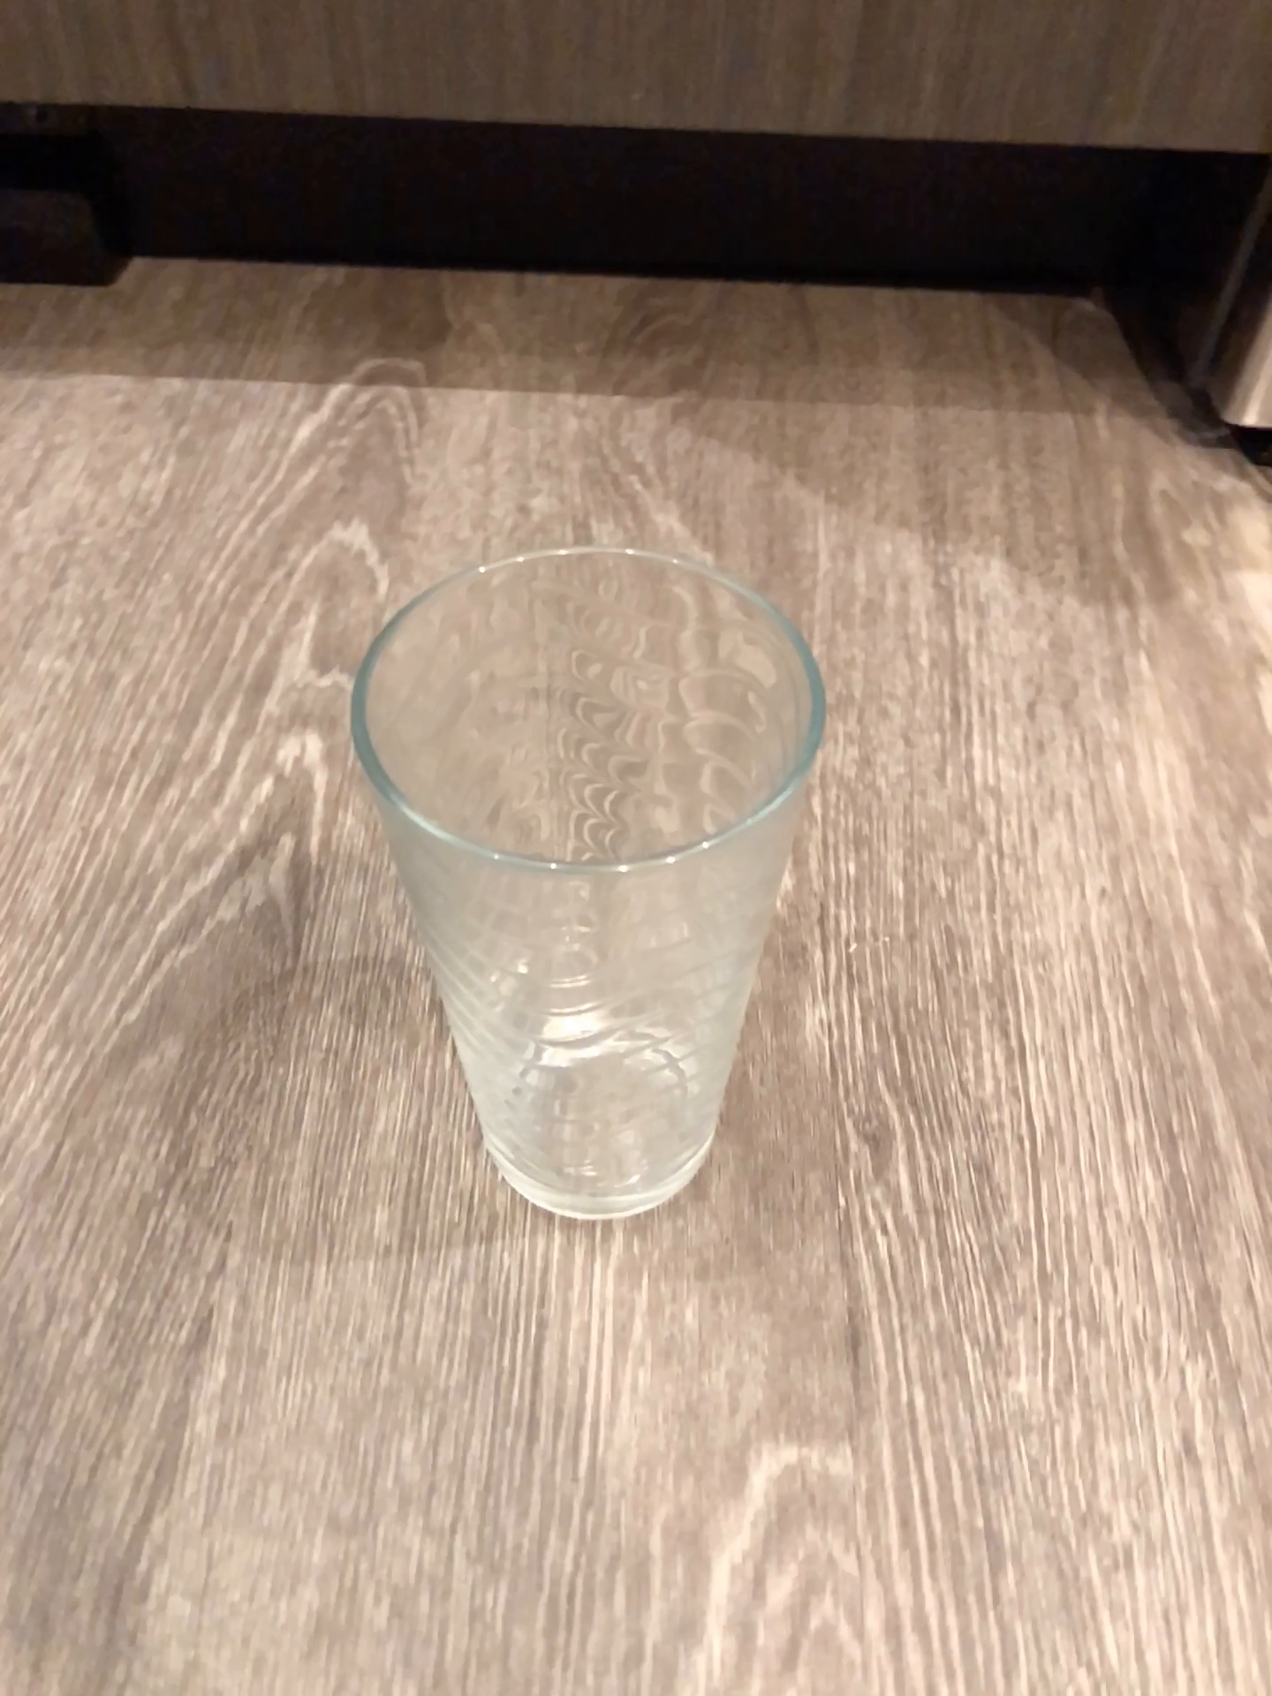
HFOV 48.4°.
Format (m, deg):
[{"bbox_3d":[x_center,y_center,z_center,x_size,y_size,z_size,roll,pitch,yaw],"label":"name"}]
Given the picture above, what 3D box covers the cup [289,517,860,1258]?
[{"bbox_3d":[-0.010,0.015,0.306,0.090,0.139,0.090,1,50,-1],"label":"cup"}]
